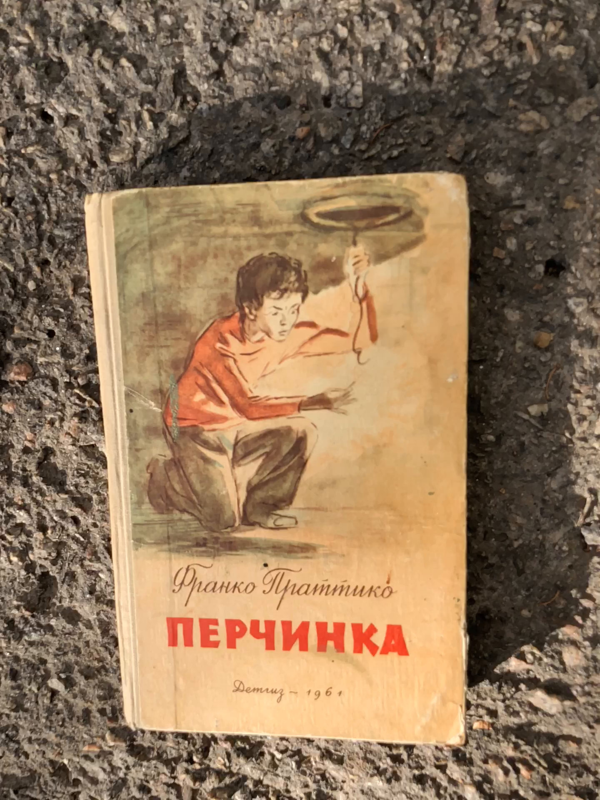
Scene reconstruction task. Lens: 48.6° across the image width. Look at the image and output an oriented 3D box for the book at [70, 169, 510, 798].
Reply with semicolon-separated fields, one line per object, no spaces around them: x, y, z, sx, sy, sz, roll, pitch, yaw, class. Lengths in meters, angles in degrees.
-0.001;0.032;0.229;0.132;0.030;0.203;0;99;5;book
